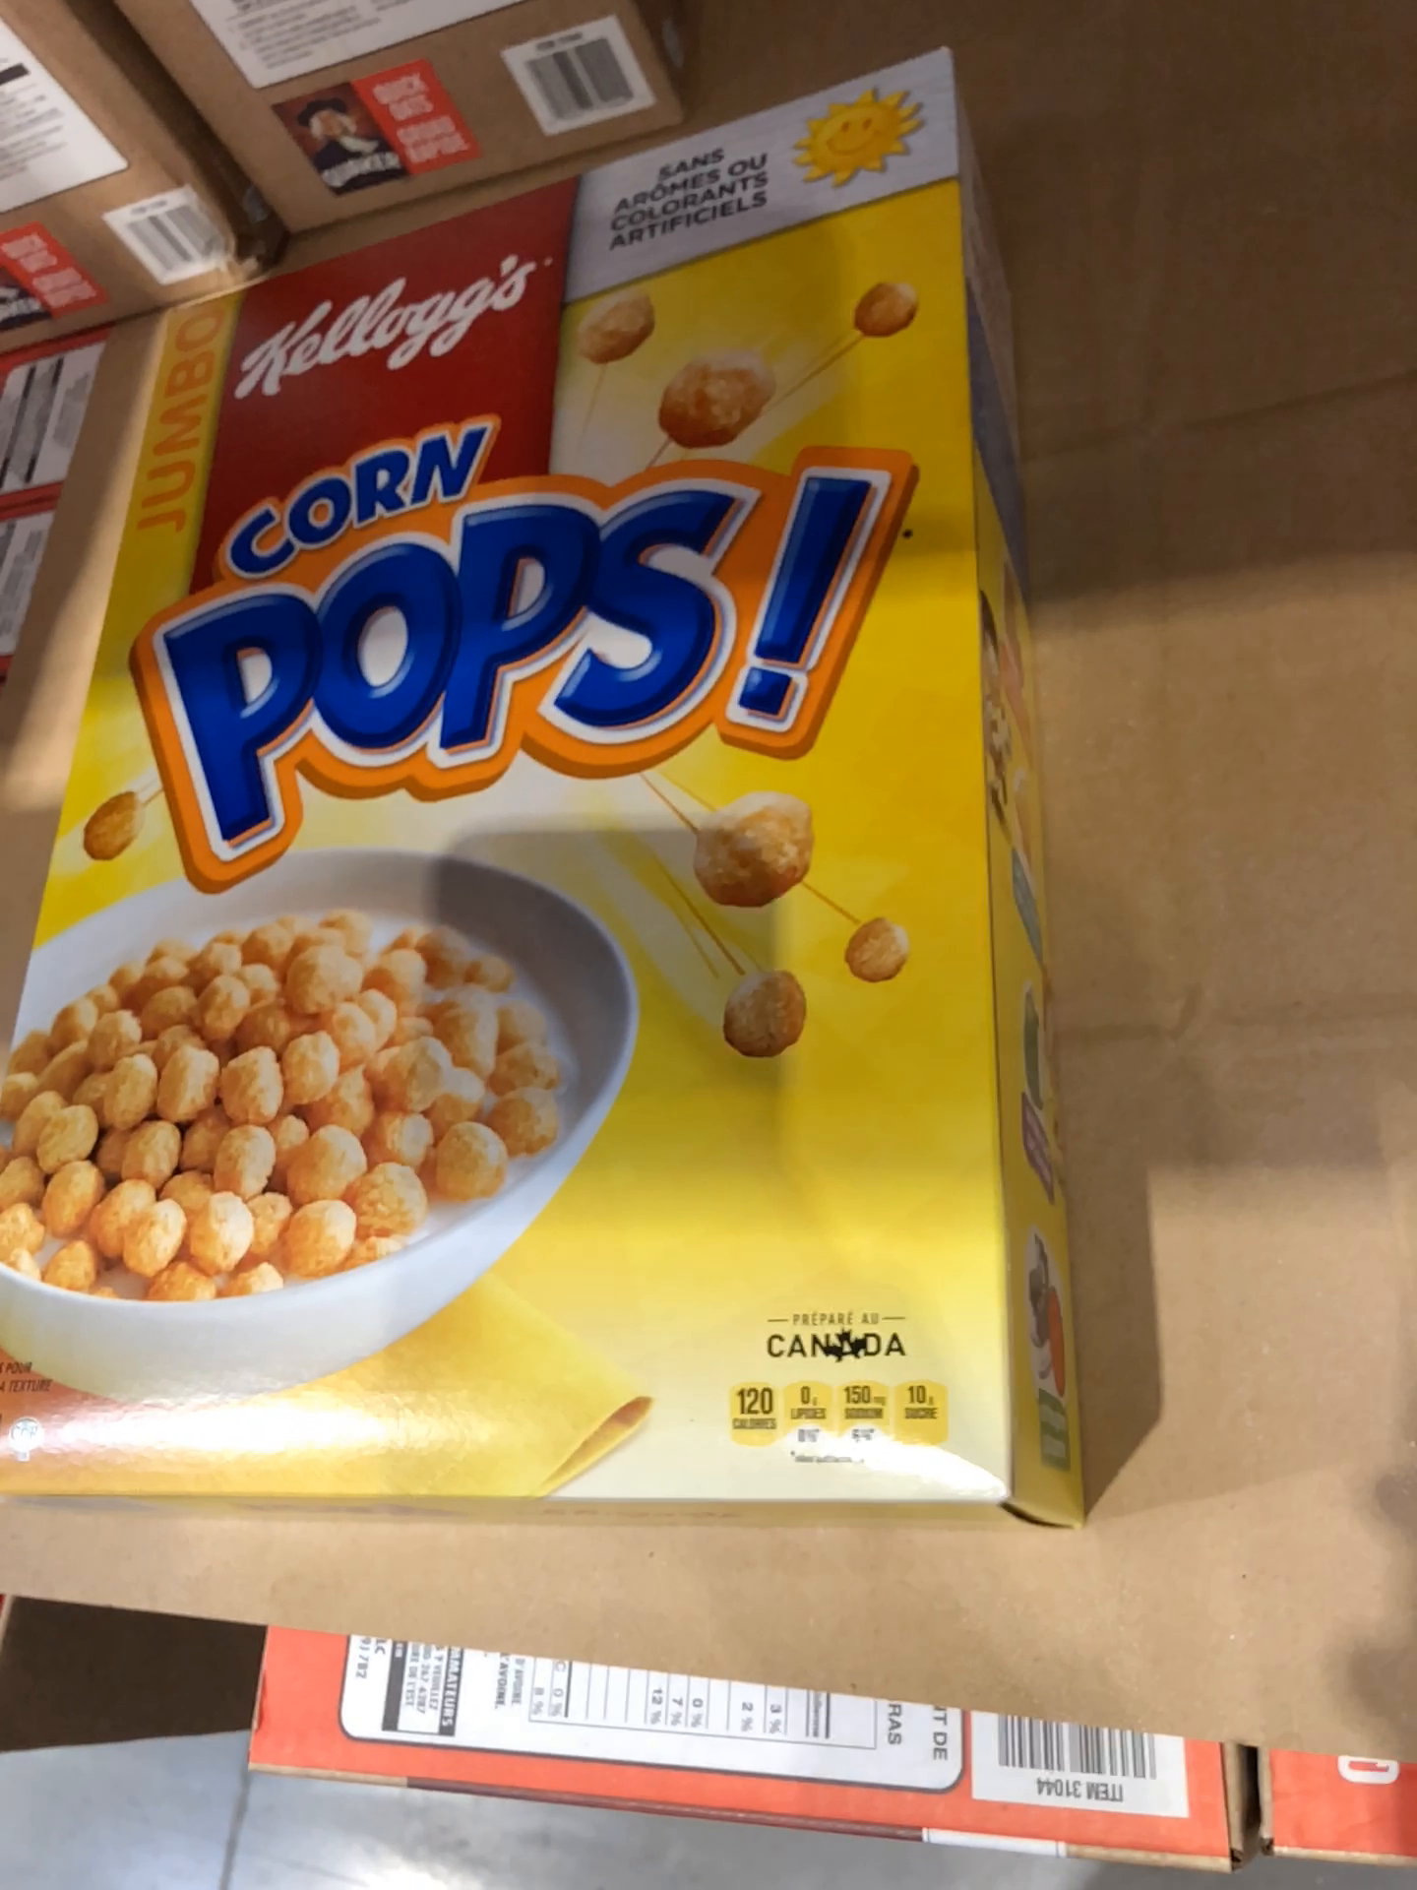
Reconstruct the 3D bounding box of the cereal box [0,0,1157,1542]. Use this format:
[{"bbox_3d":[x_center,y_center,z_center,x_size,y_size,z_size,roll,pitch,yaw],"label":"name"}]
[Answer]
[{"bbox_3d":[-0.043,-0.038,0.402,0.271,0.100,0.340,-7,65,22],"label":"cereal box"}]
